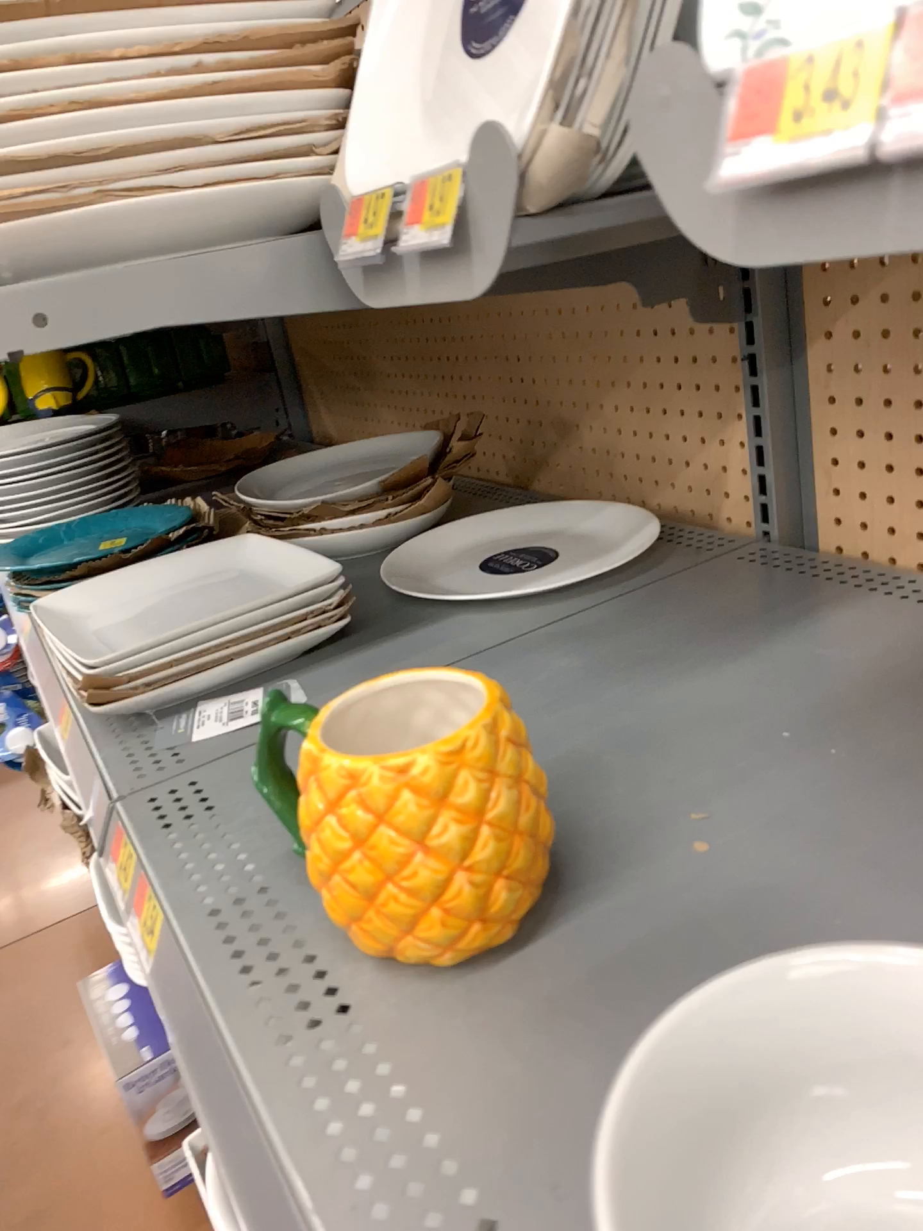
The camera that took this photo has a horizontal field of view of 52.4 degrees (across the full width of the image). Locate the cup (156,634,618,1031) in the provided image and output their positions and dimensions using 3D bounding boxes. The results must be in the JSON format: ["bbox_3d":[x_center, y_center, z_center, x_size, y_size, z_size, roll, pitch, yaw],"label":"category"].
[{"bbox_3d":[-0.032,0.082,0.414,0.161,0.100,0.100,6,26,37],"label":"cup"}]
